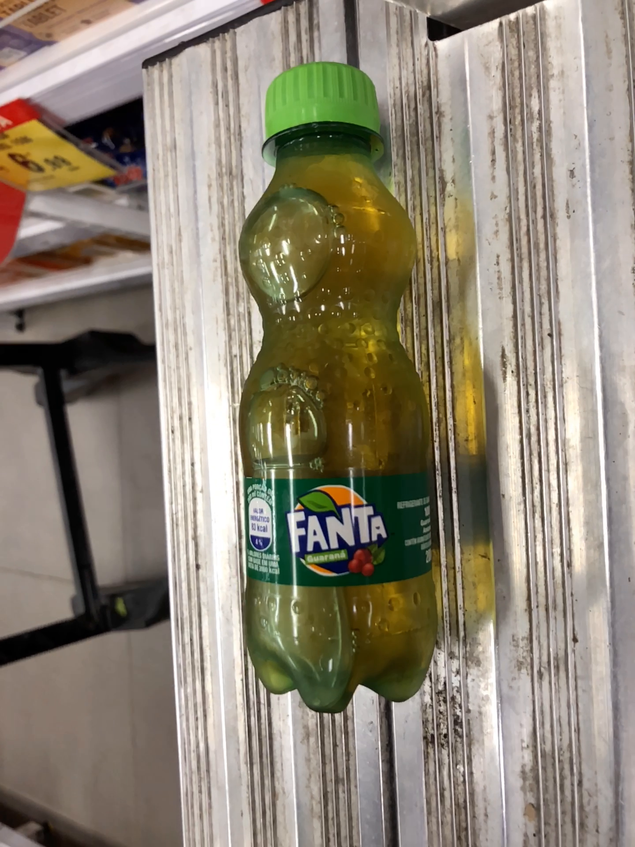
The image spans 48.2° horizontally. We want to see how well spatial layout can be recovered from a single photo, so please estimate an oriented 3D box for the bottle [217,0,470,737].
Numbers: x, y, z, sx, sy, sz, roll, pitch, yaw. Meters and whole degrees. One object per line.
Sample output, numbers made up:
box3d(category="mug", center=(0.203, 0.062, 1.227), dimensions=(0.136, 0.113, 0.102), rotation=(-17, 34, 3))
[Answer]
box3d(category="bottle", center=(0.003, -0.018, 0.183), dimensions=(0.050, 0.050, 0.170), rotation=(170, 99, -80))
